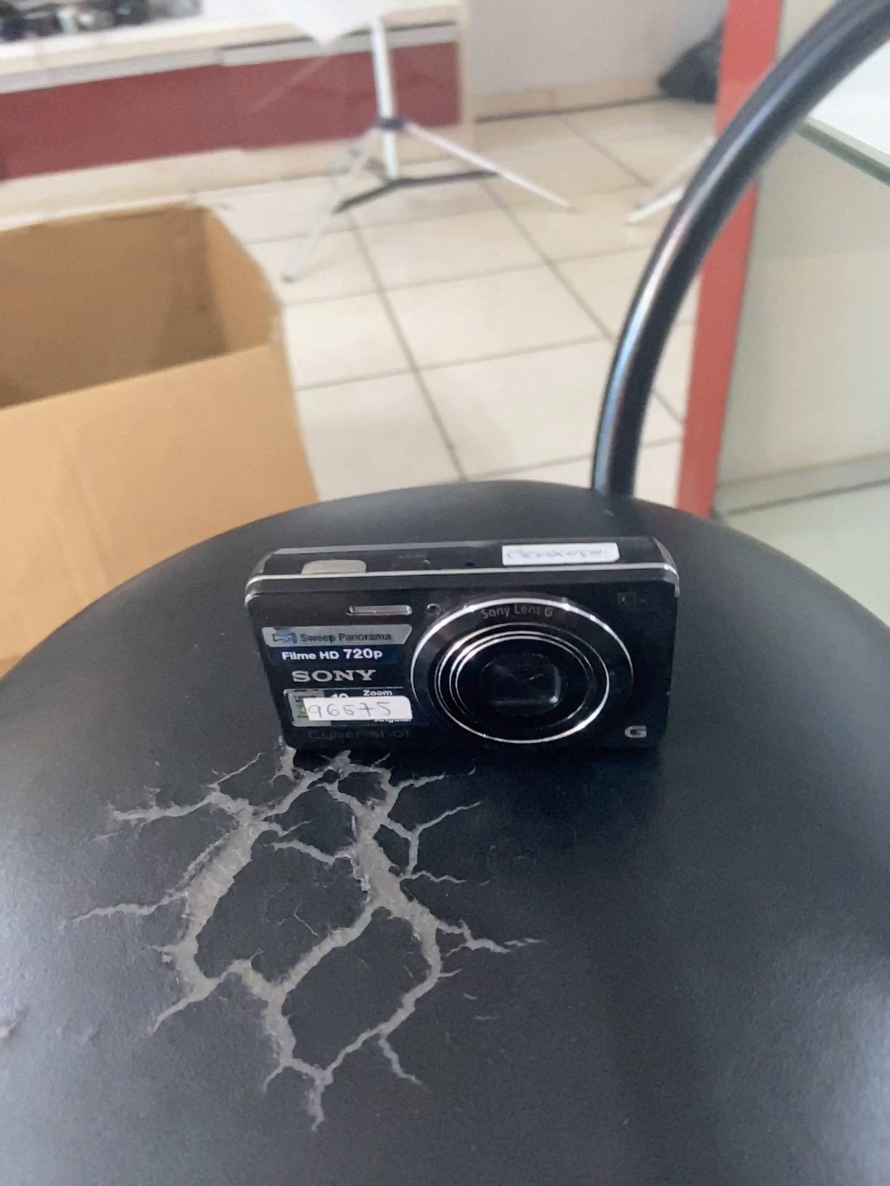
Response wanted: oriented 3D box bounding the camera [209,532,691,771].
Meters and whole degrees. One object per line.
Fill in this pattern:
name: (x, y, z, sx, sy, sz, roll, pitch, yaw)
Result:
camera: (0.002, 0.014, 0.210, 0.096, 0.051, 0.024, 0, 41, 6)
